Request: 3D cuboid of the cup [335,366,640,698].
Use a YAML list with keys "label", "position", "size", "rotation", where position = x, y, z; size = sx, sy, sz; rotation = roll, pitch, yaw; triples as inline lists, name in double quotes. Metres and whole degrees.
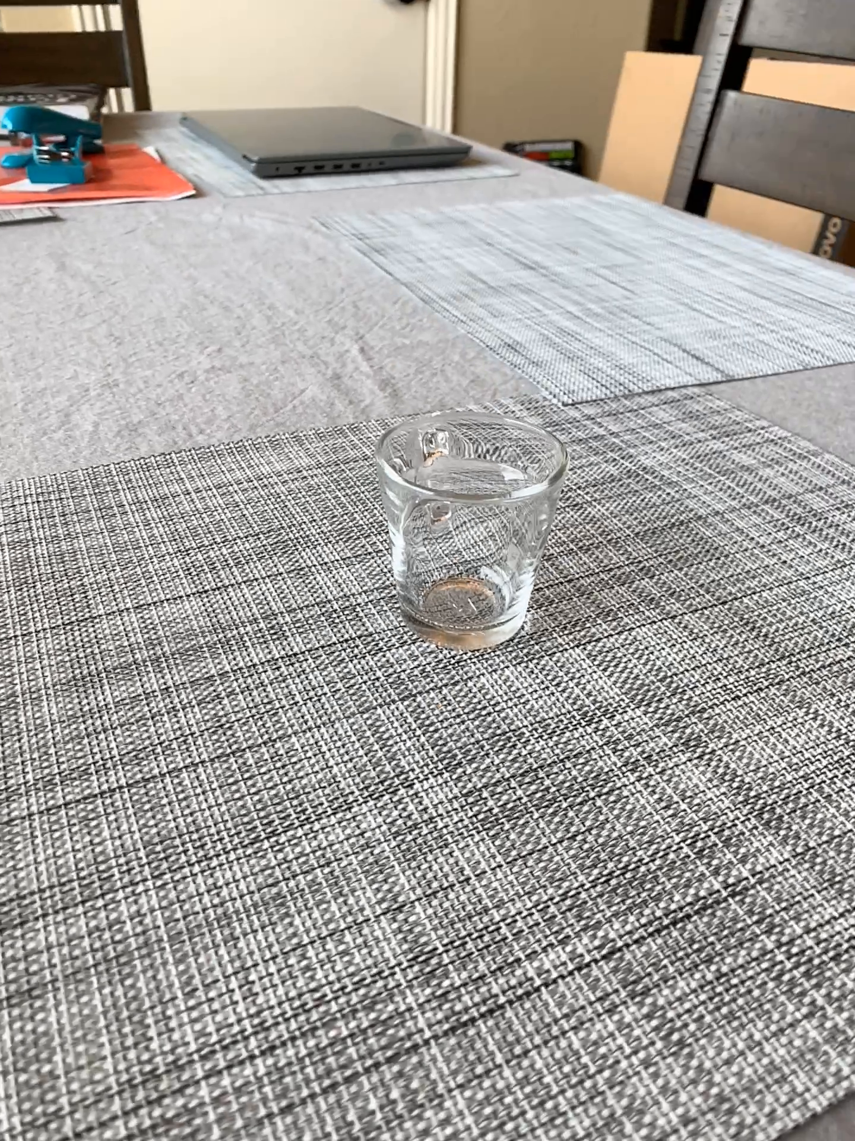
- label: "cup"
  position: [0.013, -0.016, 0.279]
  size: [0.058, 0.060, 0.083]
  rotation: [-14, 39, -22]
